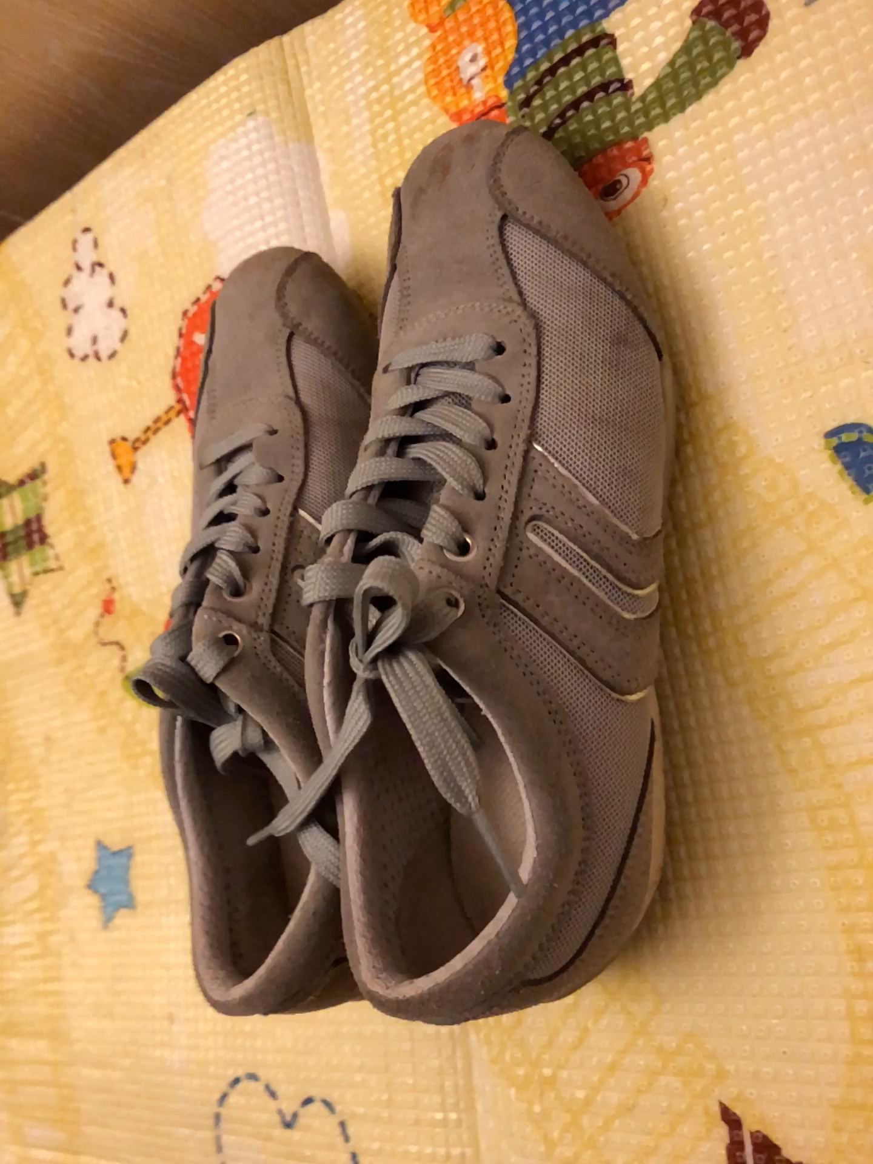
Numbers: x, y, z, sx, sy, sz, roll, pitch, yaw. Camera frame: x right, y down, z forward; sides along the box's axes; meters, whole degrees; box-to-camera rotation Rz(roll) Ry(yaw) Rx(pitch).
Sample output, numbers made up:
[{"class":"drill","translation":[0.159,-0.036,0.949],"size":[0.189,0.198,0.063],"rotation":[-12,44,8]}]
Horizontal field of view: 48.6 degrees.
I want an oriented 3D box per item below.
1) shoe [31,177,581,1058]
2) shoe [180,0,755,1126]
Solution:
[{"class":"shoe","translation":[-0.043,0.013,0.320],"size":[0.090,0.119,0.230],"rotation":[-18,76,35]},{"class":"shoe","translation":[0.011,-0.011,0.256],"size":[0.090,0.119,0.230],"rotation":[-6,84,37]}]
